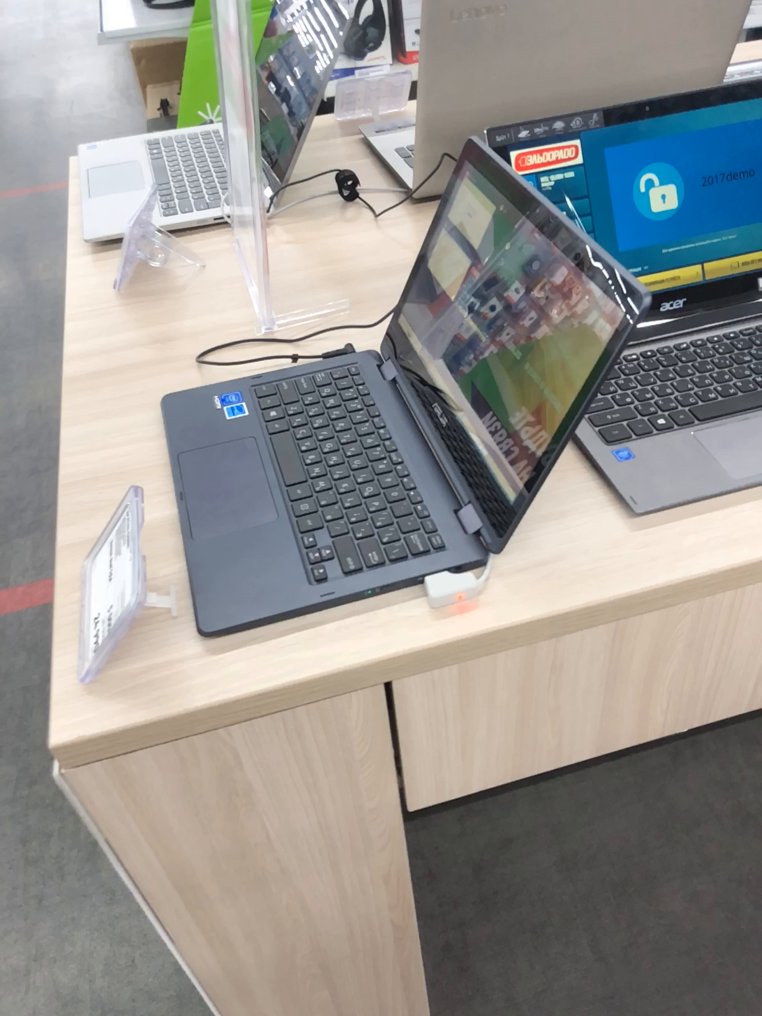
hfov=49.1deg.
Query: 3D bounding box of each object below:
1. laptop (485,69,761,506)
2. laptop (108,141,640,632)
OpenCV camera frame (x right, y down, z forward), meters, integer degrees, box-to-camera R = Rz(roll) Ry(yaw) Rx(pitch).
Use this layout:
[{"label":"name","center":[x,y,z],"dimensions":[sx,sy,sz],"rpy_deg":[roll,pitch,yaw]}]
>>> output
[{"label":"laptop","center":[0.258,-0.188,0.644],"dimensions":[0.261,0.162,0.300],"rpy_deg":[-14,44,-7]},{"label":"laptop","center":[-0.022,-0.104,0.591],"dimensions":[0.280,0.166,0.271],"rpy_deg":[-14,44,-9]}]
